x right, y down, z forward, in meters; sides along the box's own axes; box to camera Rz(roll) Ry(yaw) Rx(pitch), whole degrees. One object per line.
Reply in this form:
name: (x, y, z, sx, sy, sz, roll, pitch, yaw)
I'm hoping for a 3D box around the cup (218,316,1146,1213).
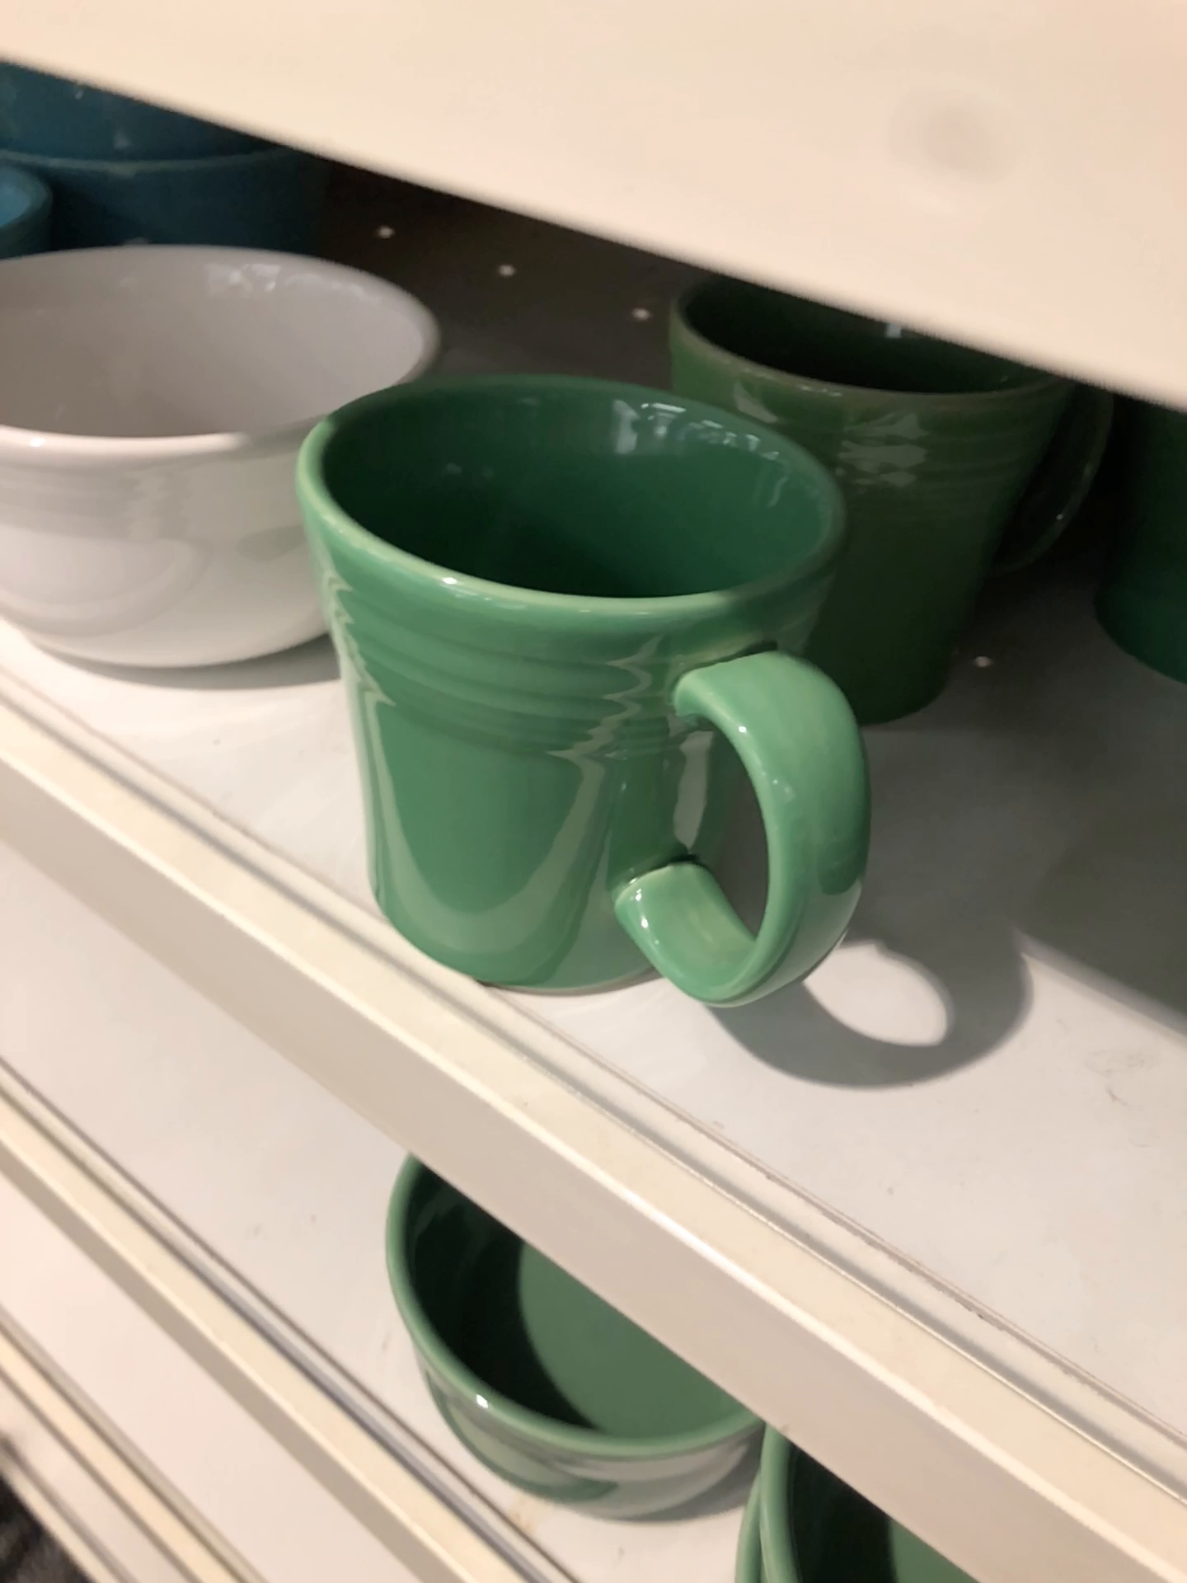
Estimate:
cup: (0.009, -0.017, 0.269, 0.107, 0.098, 0.134, -24, 47, -29)
